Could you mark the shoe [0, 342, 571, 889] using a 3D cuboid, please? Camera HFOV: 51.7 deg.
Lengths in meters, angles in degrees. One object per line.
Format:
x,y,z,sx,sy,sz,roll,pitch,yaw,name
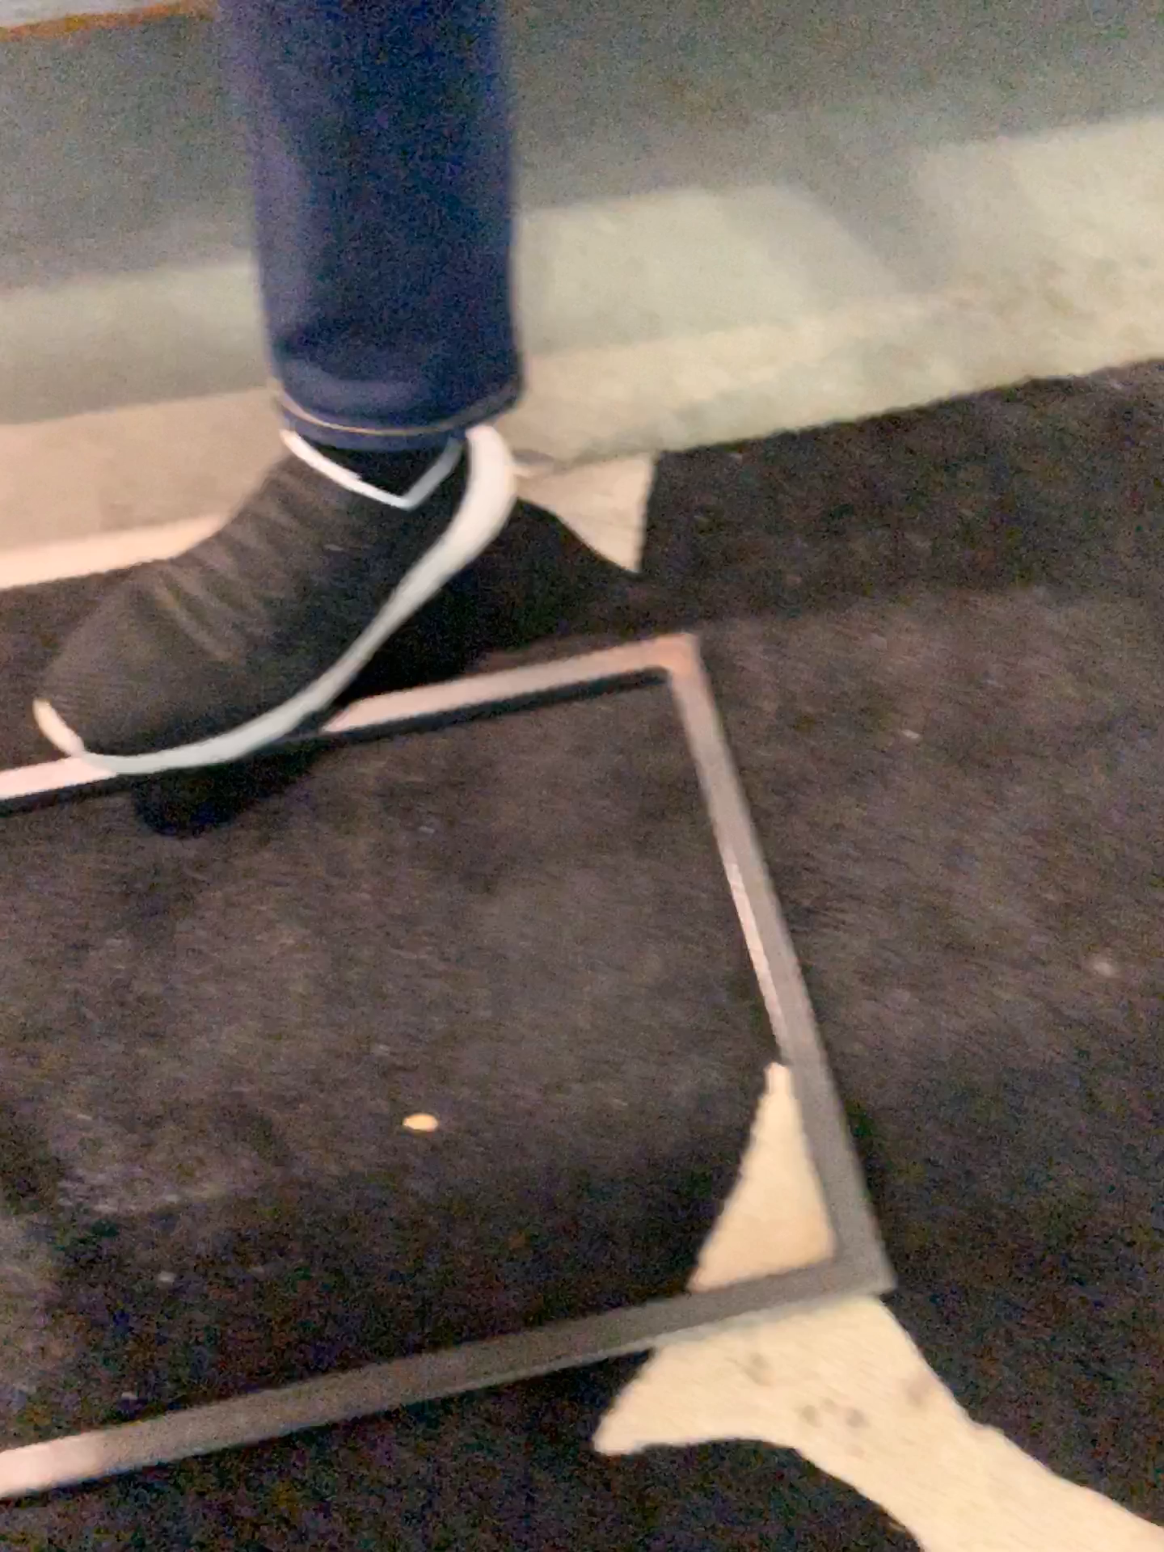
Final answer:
-0.157,-0.093,0.639,0.303,0.074,0.116,-42,67,-17,shoe
